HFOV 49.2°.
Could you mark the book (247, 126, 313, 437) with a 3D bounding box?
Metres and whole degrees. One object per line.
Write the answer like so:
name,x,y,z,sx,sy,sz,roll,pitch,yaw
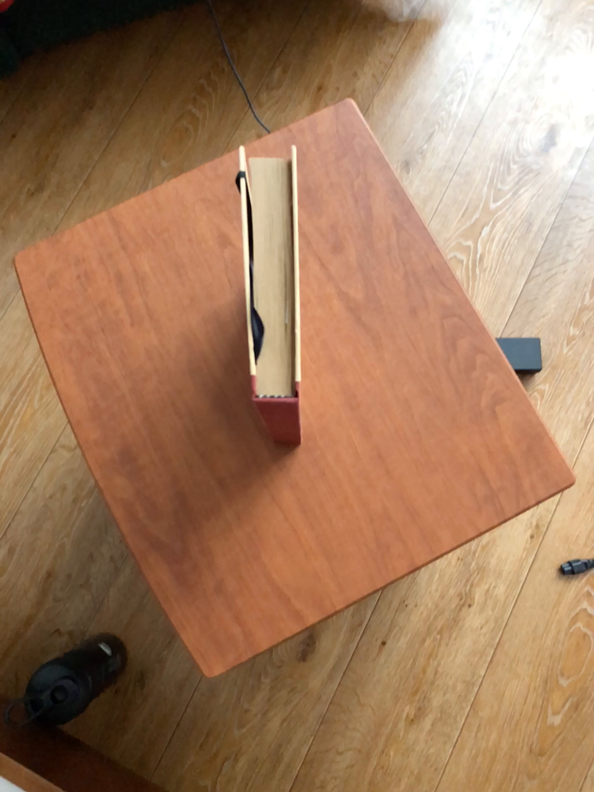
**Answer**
book,-0.009,-0.060,0.464,0.032,0.213,0.154,-2,80,0
